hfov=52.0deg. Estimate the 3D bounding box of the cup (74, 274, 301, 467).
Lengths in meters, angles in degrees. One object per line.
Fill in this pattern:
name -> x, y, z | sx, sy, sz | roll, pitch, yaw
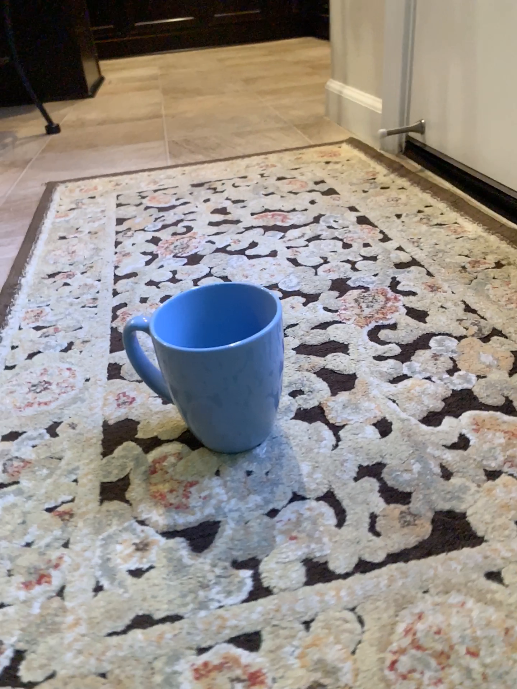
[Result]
cup -> -0.039, 0.013, 0.366 | 0.120, 0.089, 0.091 | 3, 34, 13
